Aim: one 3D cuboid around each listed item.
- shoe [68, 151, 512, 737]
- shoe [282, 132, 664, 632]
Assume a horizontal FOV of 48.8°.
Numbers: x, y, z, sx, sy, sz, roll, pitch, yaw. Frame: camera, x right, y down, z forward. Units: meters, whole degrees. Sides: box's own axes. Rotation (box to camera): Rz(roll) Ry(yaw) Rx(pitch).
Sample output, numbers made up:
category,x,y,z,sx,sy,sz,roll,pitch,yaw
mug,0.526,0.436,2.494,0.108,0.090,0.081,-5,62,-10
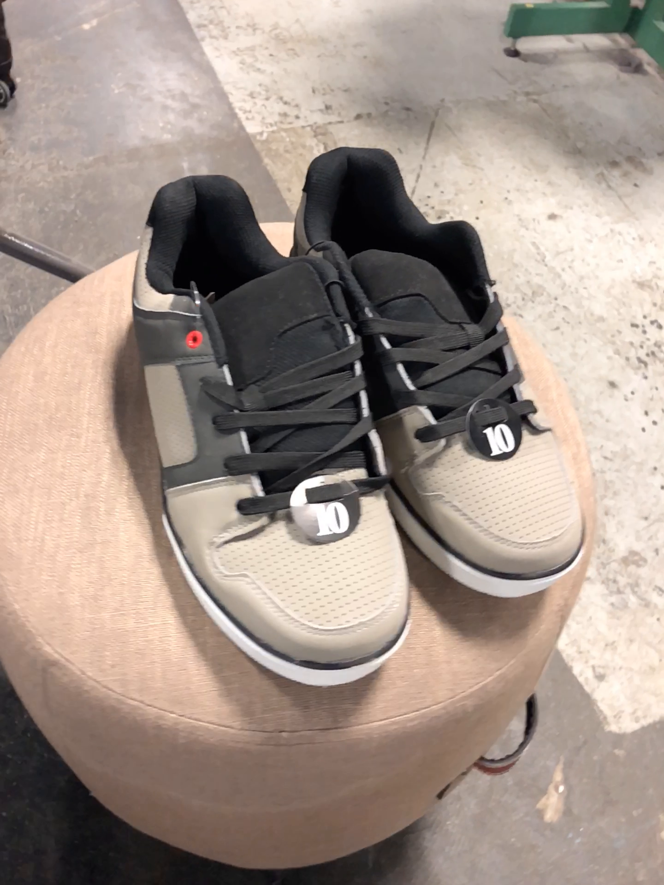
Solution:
category,x,y,z,sx,sy,sz,roll,pitch,yaw
shoe,-0.041,-0.022,0.372,0.120,0.089,0.282,-14,56,-16
shoe,0.069,-0.053,0.420,0.110,0.089,0.282,-14,56,-16
